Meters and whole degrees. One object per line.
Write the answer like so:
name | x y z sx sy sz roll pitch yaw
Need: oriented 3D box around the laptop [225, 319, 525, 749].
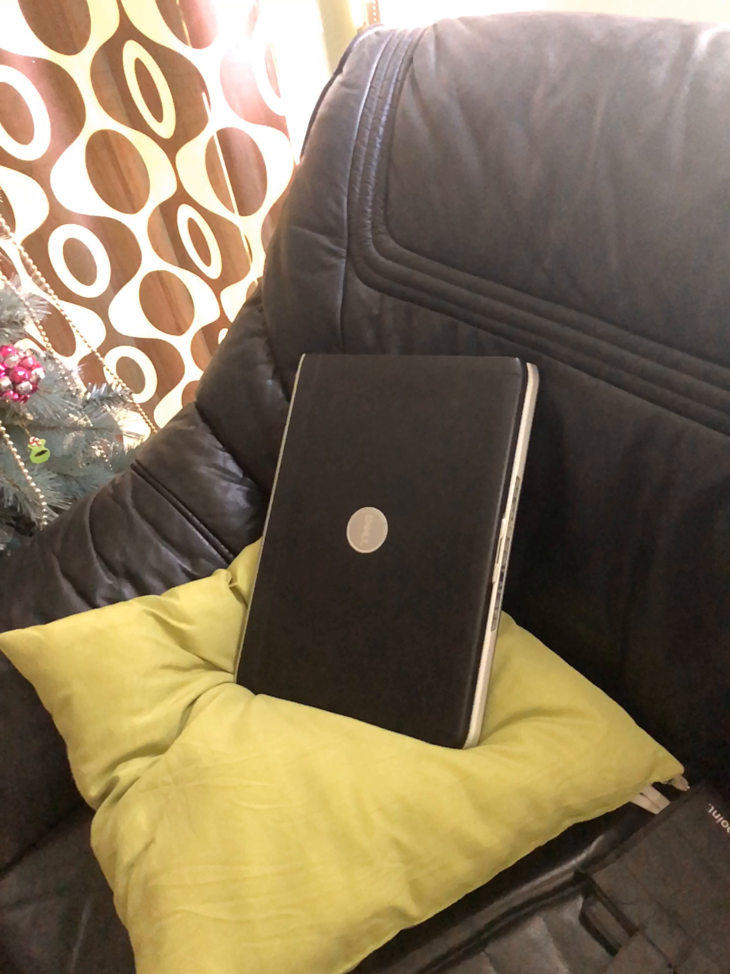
laptop | 0.004 0.025 0.747 0.247 0.033 0.345 7 81 32
